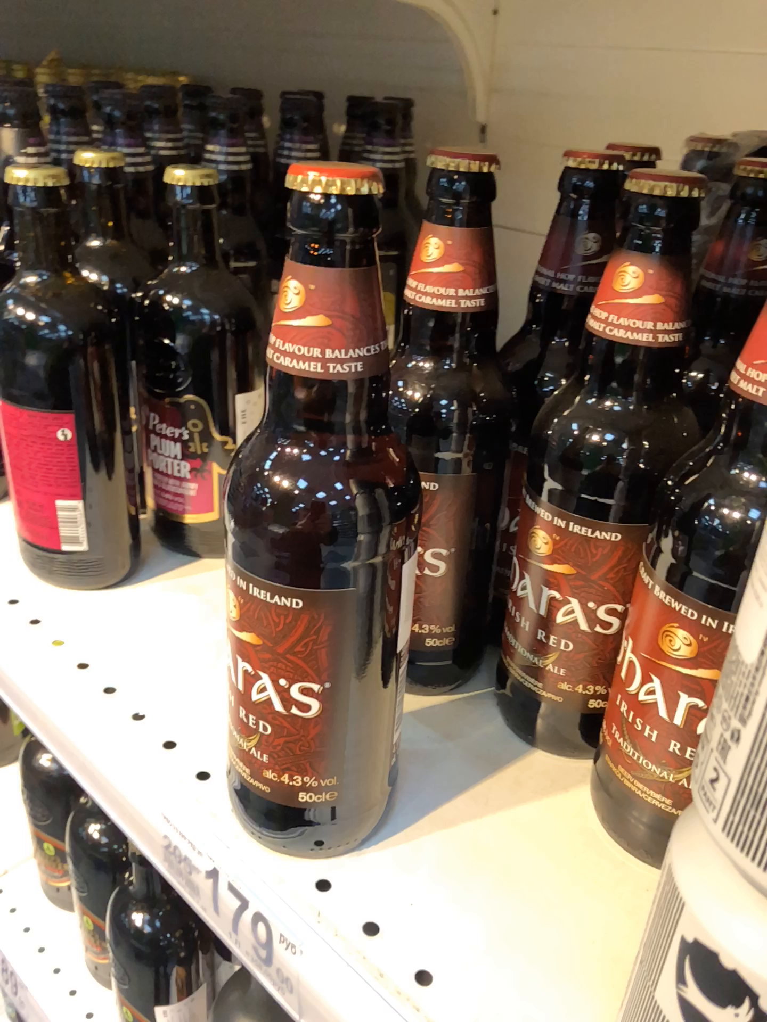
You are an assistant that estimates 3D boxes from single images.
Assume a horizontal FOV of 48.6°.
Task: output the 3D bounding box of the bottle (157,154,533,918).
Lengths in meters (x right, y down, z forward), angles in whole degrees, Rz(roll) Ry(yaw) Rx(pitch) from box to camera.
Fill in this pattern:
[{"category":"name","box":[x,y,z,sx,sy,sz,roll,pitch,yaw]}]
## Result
[{"category":"bottle","box":[-0.020,0.012,0.298,0.080,0.246,0.080,3,27,-1]}]
